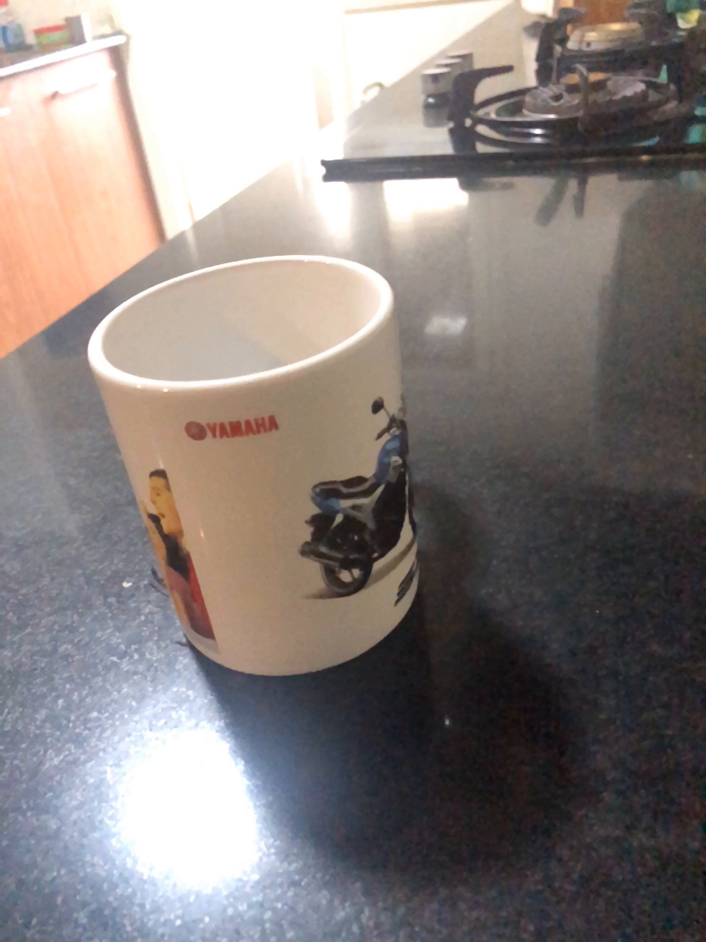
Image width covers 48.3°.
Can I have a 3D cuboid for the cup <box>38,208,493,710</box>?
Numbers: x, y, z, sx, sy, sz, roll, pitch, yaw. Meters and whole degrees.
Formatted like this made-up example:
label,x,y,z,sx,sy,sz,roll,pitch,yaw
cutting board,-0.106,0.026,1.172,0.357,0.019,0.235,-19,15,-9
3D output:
label,x,y,z,sx,sy,sz,roll,pitch,yaw
cup,-0.011,-0.014,0.248,0.080,0.099,0.121,8,37,23
